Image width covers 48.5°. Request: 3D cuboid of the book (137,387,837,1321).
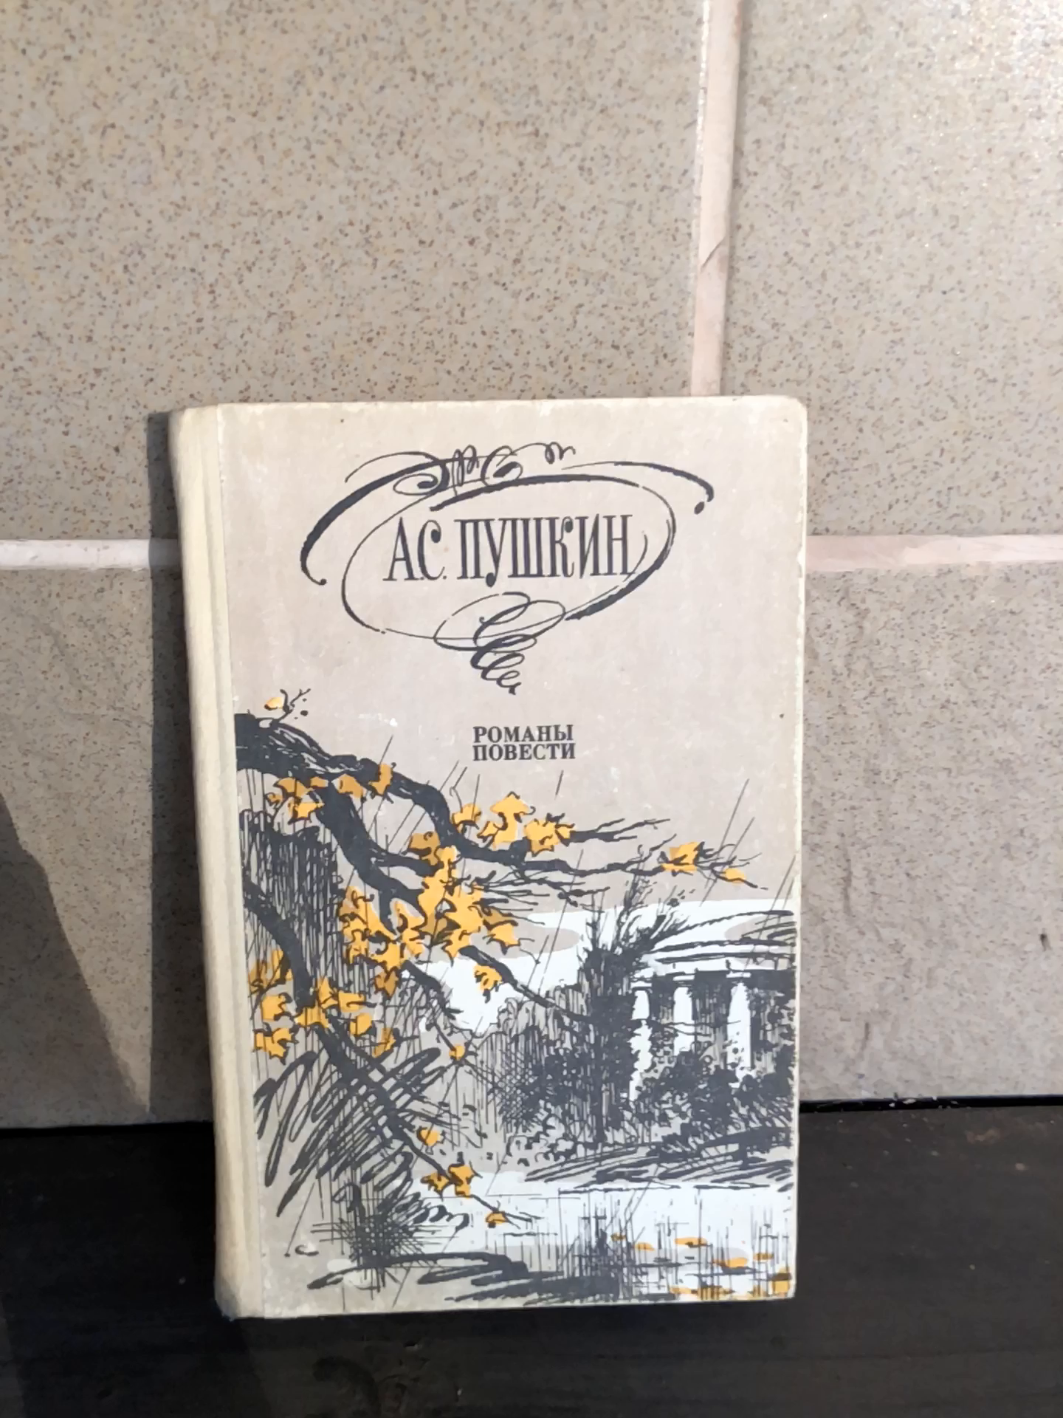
[{"bbox_3d":[-0.007,0.035,0.250,0.130,0.198,0.020,-1,13,-1],"label":"book"}]
